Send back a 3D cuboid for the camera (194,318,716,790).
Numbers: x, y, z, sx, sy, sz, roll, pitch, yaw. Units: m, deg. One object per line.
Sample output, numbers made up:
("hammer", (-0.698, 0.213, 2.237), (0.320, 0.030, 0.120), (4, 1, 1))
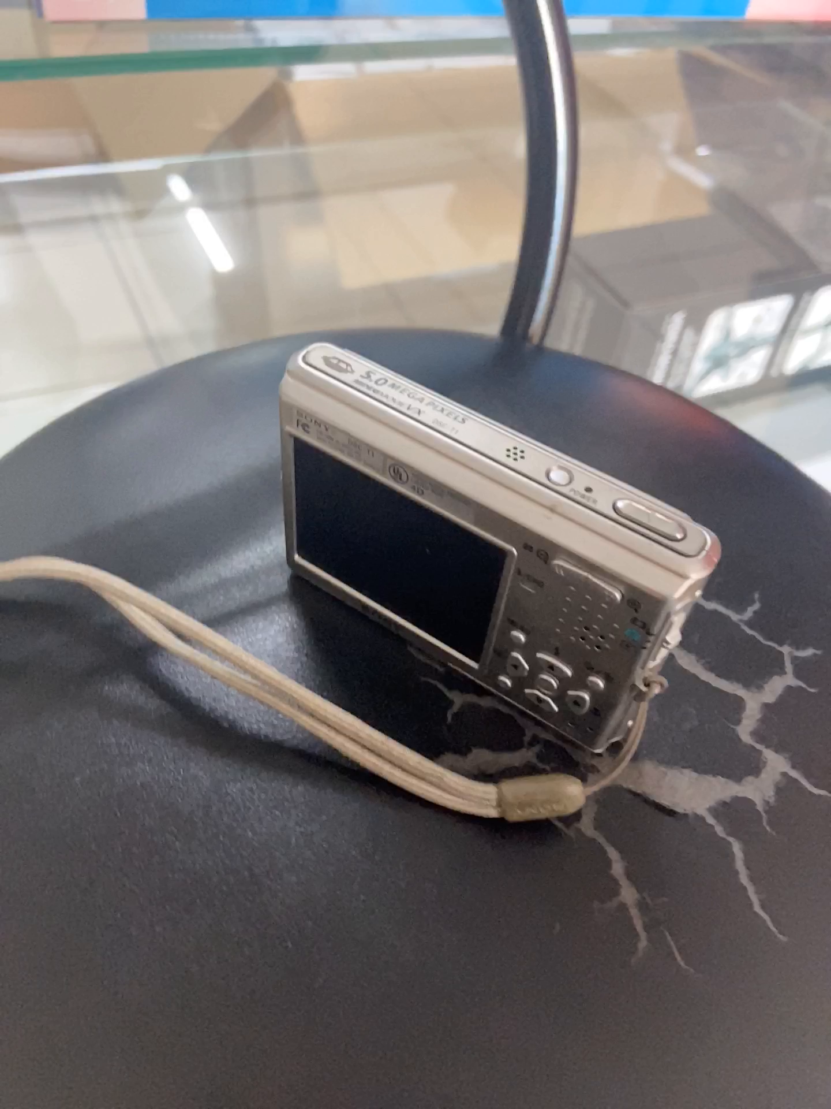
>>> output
("camera", (0.003, -0.001, 0.190), (0.100, 0.060, 0.030), (28, 50, 18))
